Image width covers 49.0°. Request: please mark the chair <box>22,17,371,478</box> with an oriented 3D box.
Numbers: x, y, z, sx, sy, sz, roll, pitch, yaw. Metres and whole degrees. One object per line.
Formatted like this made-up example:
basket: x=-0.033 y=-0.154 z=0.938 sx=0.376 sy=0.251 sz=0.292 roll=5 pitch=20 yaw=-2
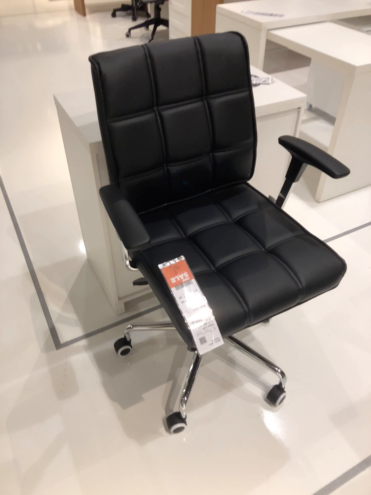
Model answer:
chair: x=0.061 y=-0.032 z=1.167 sx=0.621 sy=0.913 sz=0.744 roll=-22 pitch=46 yaw=-23
